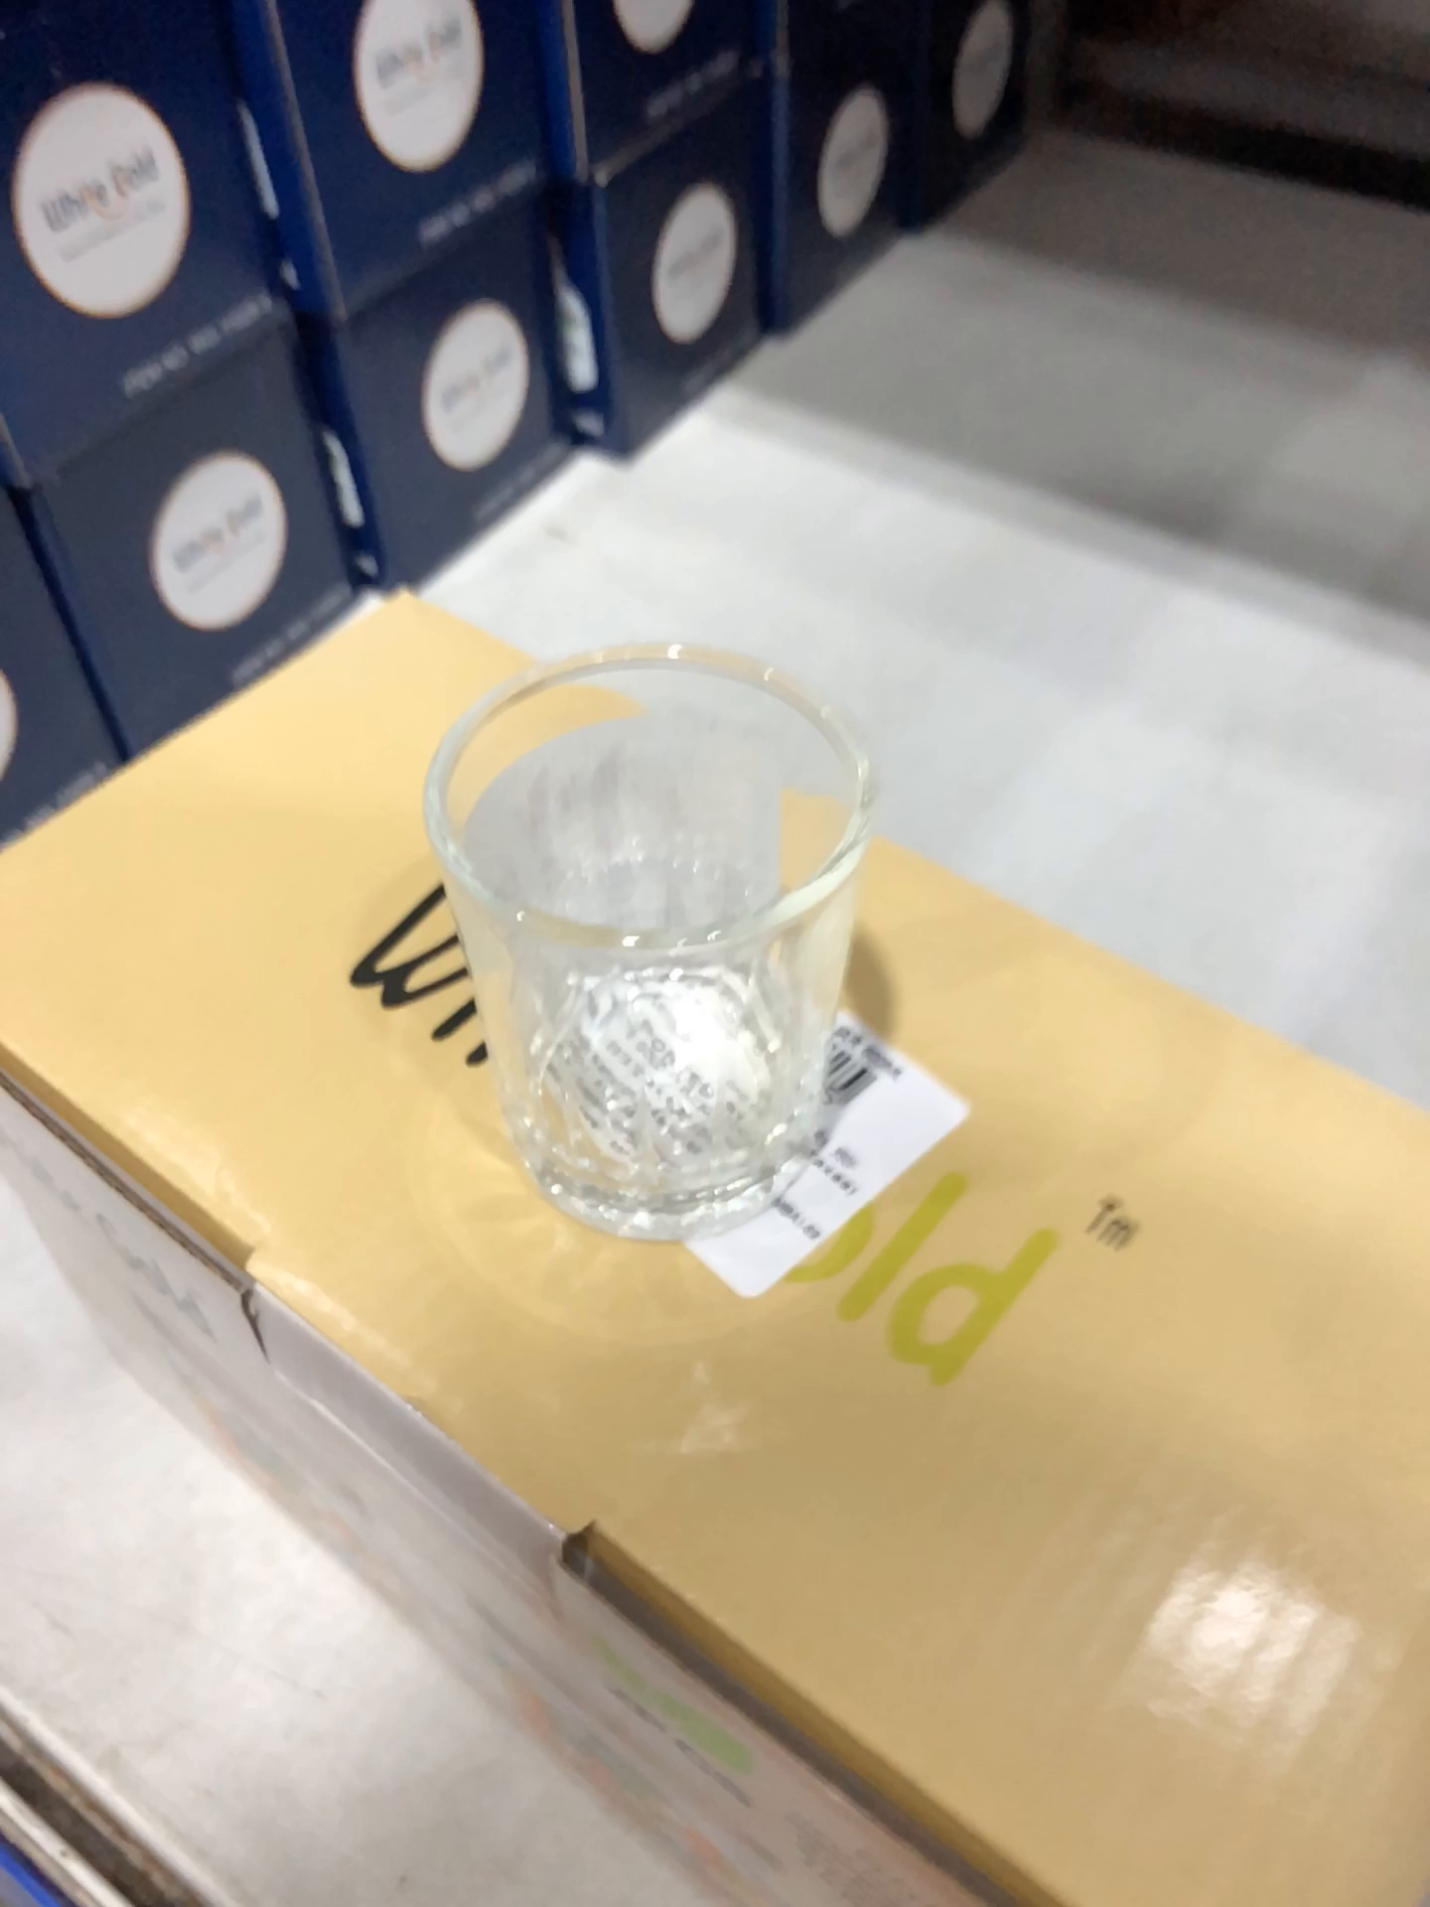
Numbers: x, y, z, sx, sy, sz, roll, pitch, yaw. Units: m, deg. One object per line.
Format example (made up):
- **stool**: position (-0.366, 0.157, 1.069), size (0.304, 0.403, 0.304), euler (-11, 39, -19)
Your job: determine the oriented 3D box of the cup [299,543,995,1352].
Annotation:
- **cup**: position (-0.004, -0.001, 0.177), size (0.050, 0.060, 0.050), euler (-1, 49, 1)
